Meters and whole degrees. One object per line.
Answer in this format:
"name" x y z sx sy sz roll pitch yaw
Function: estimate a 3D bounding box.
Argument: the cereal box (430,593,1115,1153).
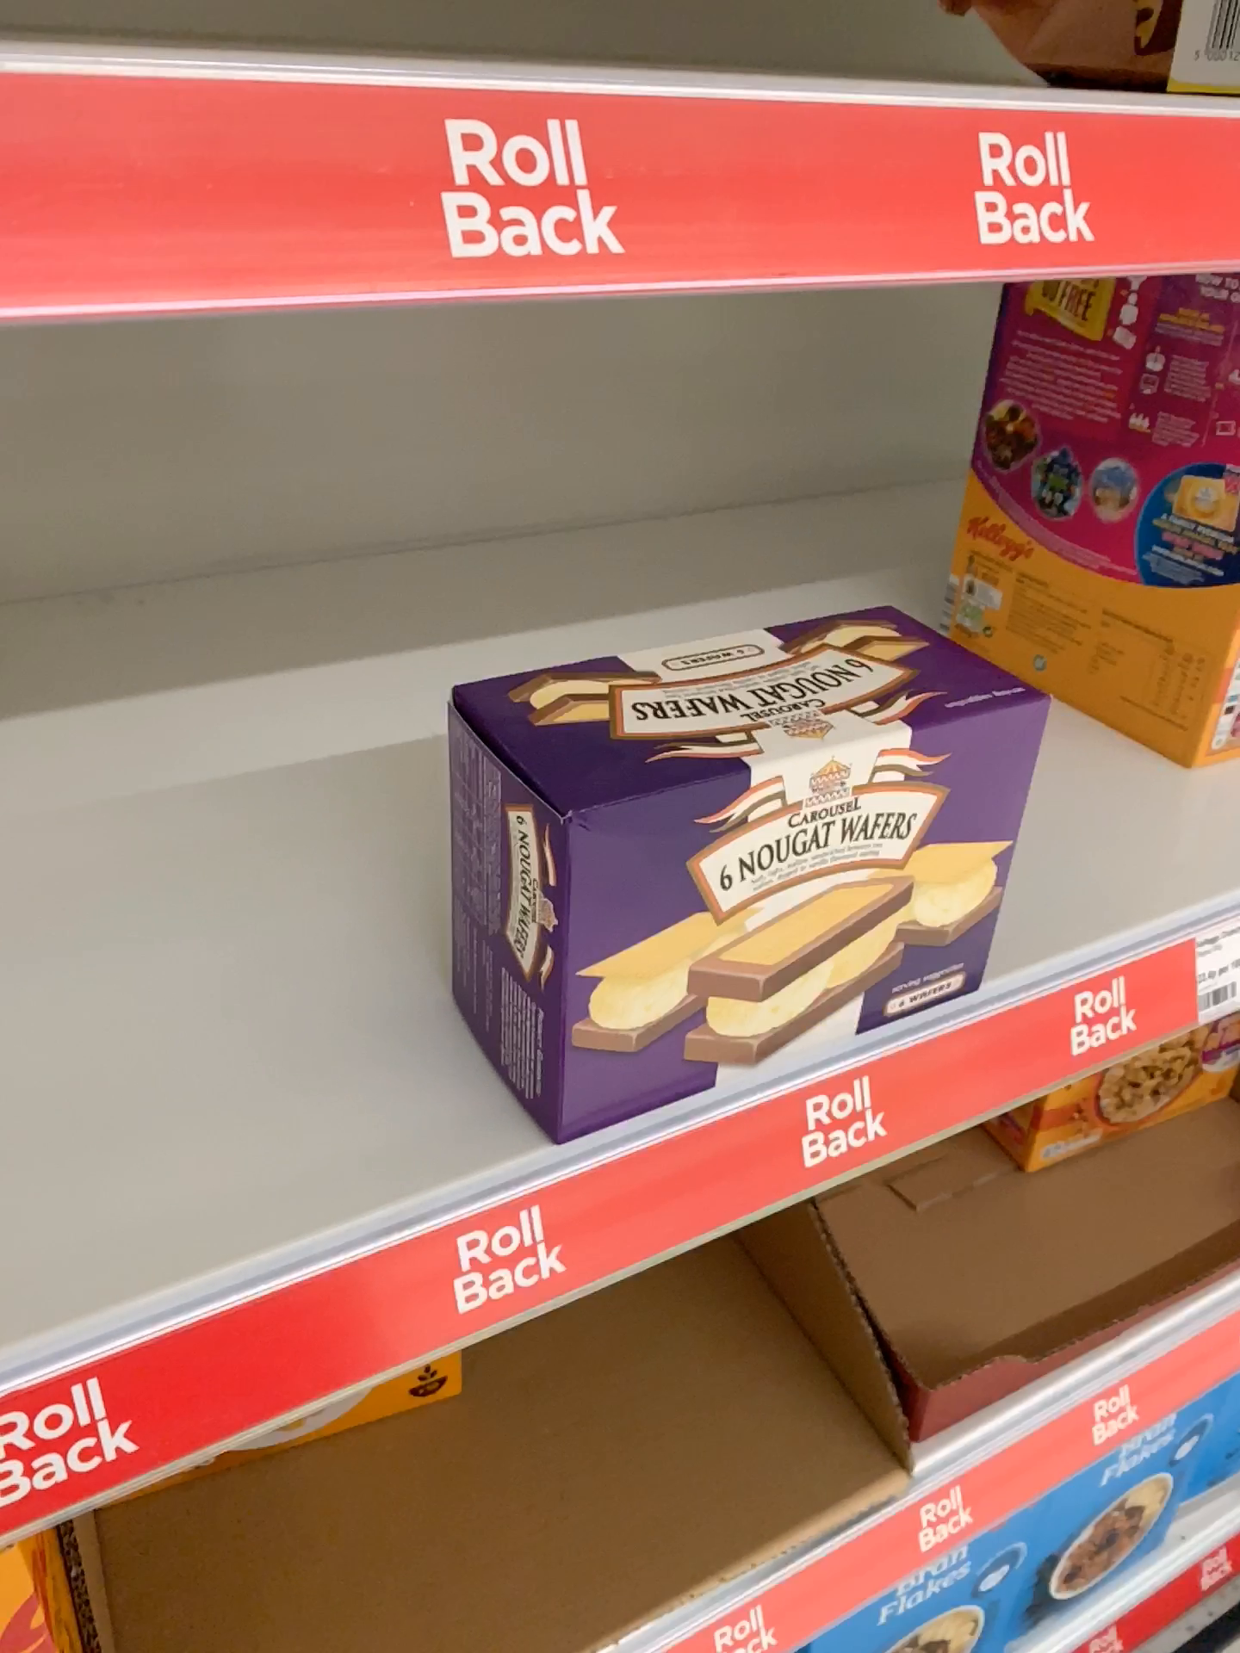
"cereal box" 0.046 0.005 0.414 0.191 0.109 0.091 -14 35 -27
